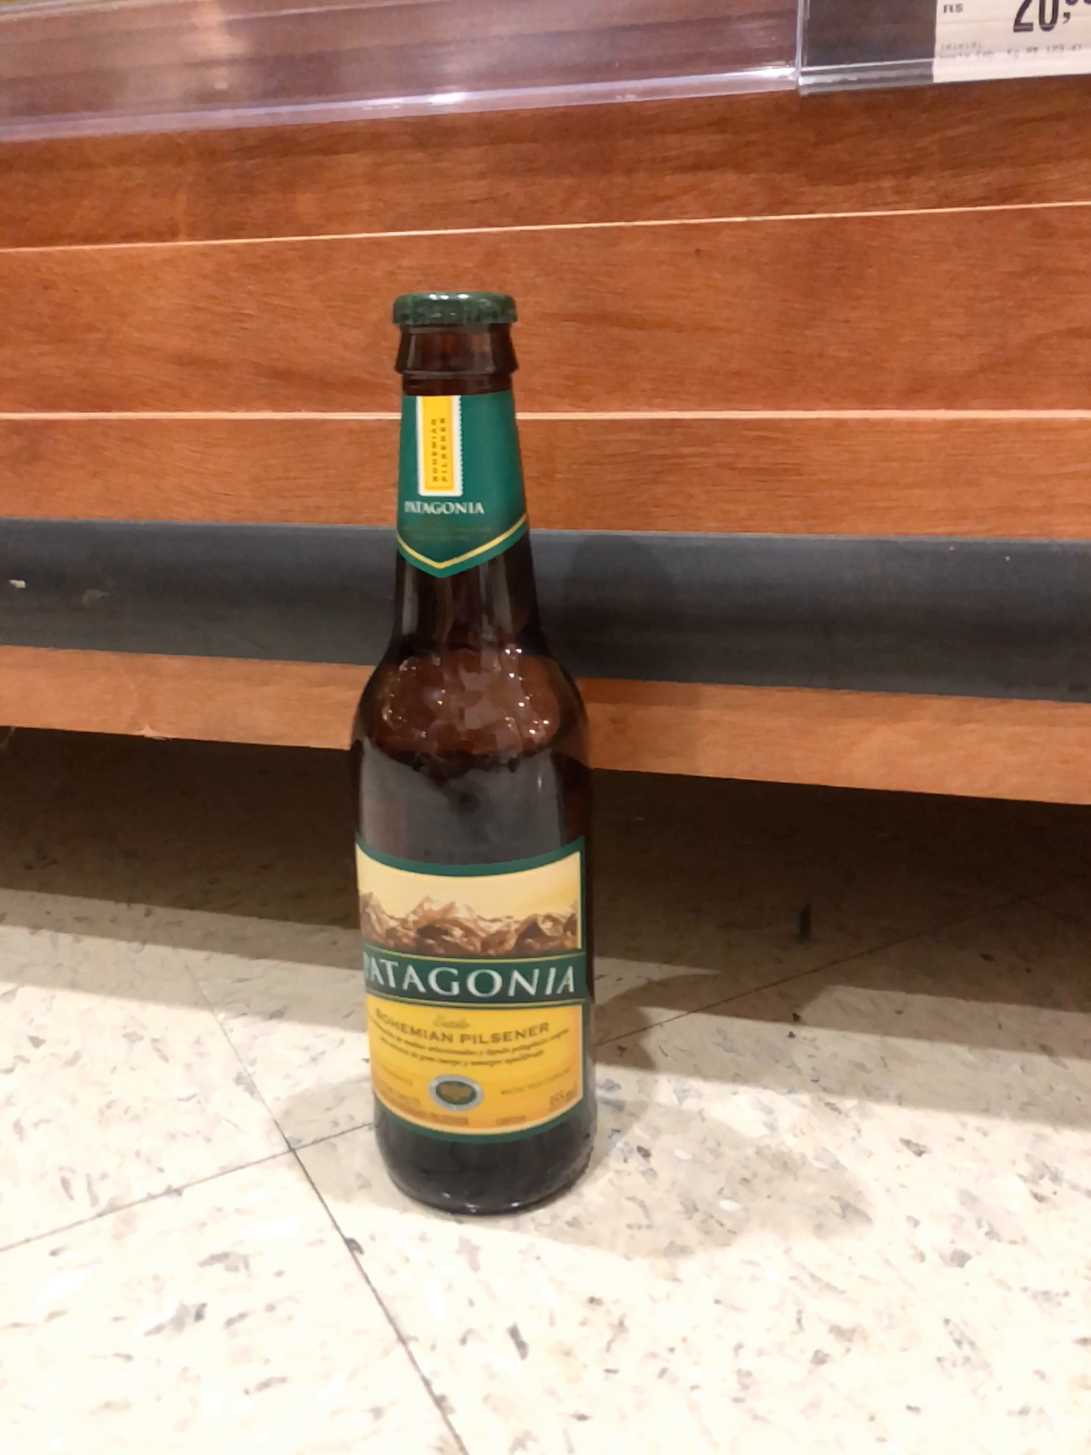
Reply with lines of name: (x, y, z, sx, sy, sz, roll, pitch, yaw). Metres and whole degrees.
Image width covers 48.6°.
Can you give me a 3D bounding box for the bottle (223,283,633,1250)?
bottle: (-0.020, 0.010, 0.294, 0.070, 0.219, 0.060, 4, 19, 16)
